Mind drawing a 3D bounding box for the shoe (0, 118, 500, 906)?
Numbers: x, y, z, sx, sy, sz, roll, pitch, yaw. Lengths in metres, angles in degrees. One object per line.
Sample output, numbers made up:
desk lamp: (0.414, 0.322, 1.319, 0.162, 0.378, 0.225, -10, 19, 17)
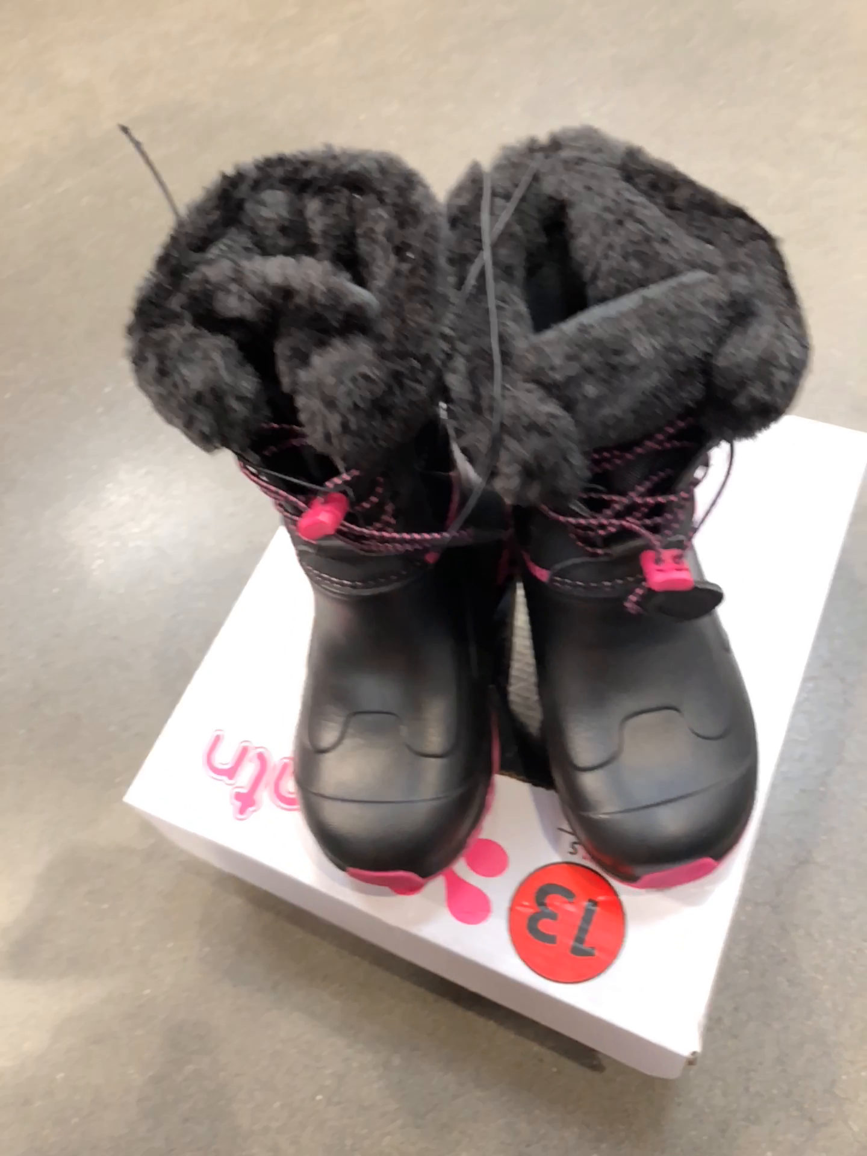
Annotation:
shoe: (-0.039, -0.007, 0.374, 0.110, 0.210, 0.220, -2, 62, 8)

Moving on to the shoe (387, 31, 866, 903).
shoe: (0.067, -0.020, 0.365, 0.110, 0.230, 0.220, -10, 61, 4)
